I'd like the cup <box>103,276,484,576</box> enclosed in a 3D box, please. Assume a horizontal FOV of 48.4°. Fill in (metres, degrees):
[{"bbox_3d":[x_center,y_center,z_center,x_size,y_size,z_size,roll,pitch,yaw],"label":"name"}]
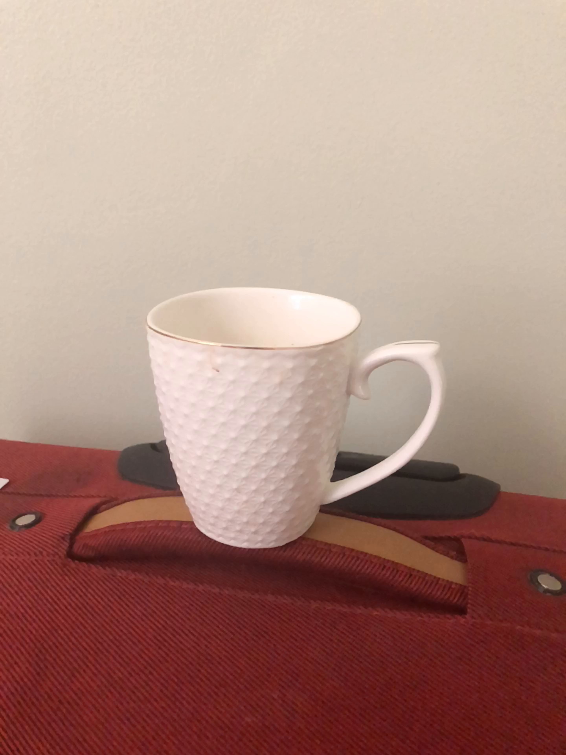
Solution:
[{"bbox_3d":[0.005,0.013,0.235,0.111,0.084,0.075,1,23,3],"label":"cup"}]
